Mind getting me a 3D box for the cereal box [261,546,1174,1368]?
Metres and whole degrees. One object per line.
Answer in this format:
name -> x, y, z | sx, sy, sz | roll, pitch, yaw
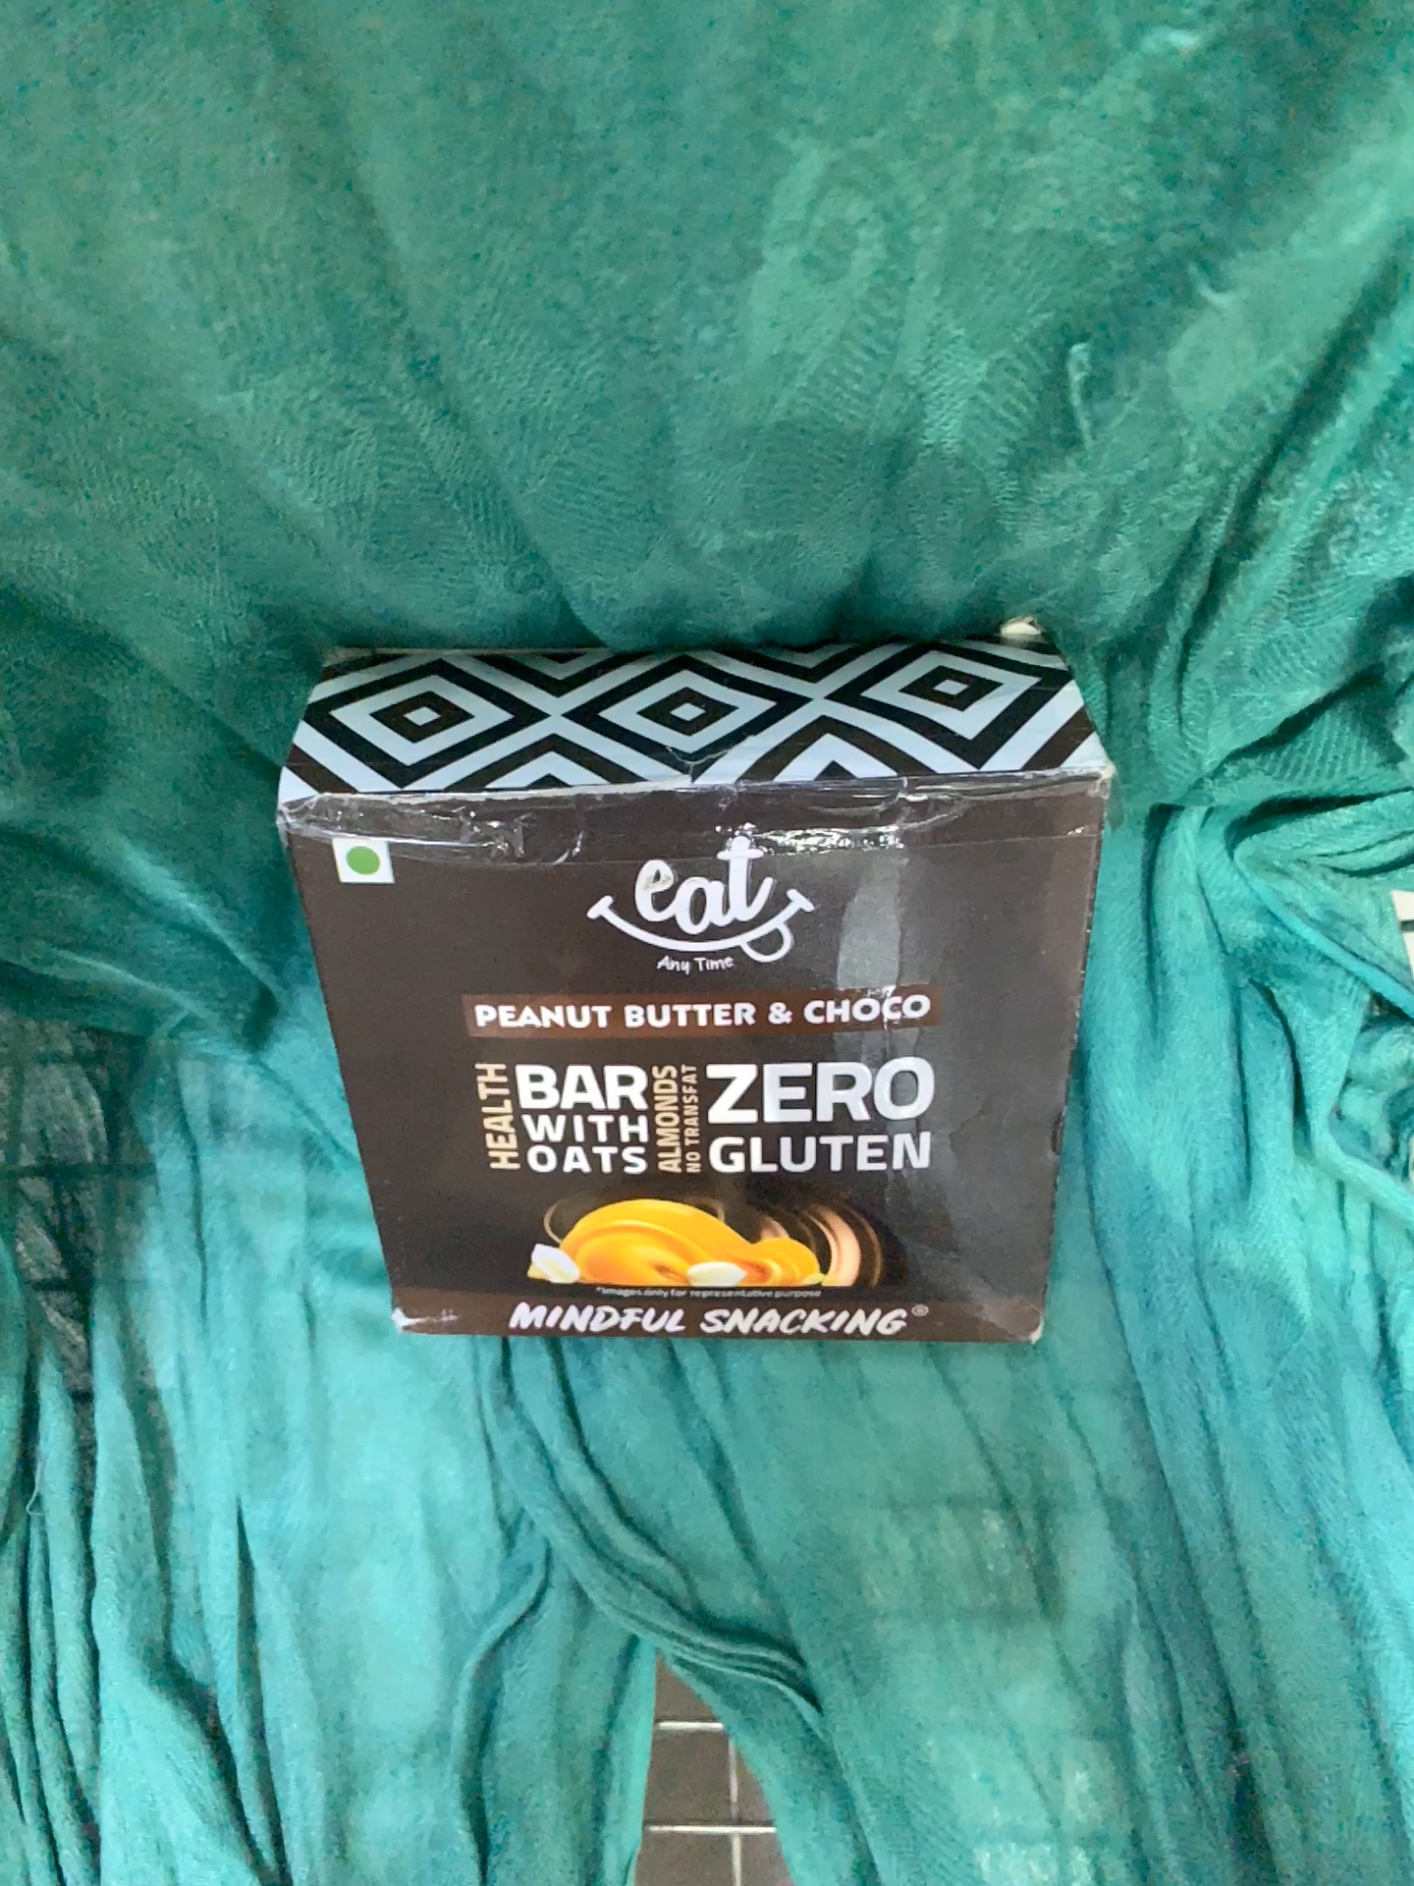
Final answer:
cereal box -> 0.004, 0.003, 0.299 | 0.140, 0.090, 0.140 | 0, 122, 2
